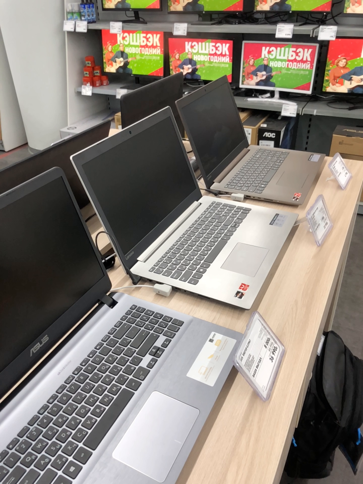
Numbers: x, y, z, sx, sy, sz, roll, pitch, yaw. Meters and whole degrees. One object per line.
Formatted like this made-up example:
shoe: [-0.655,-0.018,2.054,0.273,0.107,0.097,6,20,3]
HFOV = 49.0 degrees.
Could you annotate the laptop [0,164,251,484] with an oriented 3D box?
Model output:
laptop: [-0.117,0.093,0.503,0.318,0.232,0.328,14,35,23]

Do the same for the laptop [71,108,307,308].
laptop: [0.040,-0.107,0.829,0.335,0.220,0.367,13,35,22]

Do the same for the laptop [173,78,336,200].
laptop: [0.220,-0.313,1.144,0.326,0.222,0.359,12,34,20]
